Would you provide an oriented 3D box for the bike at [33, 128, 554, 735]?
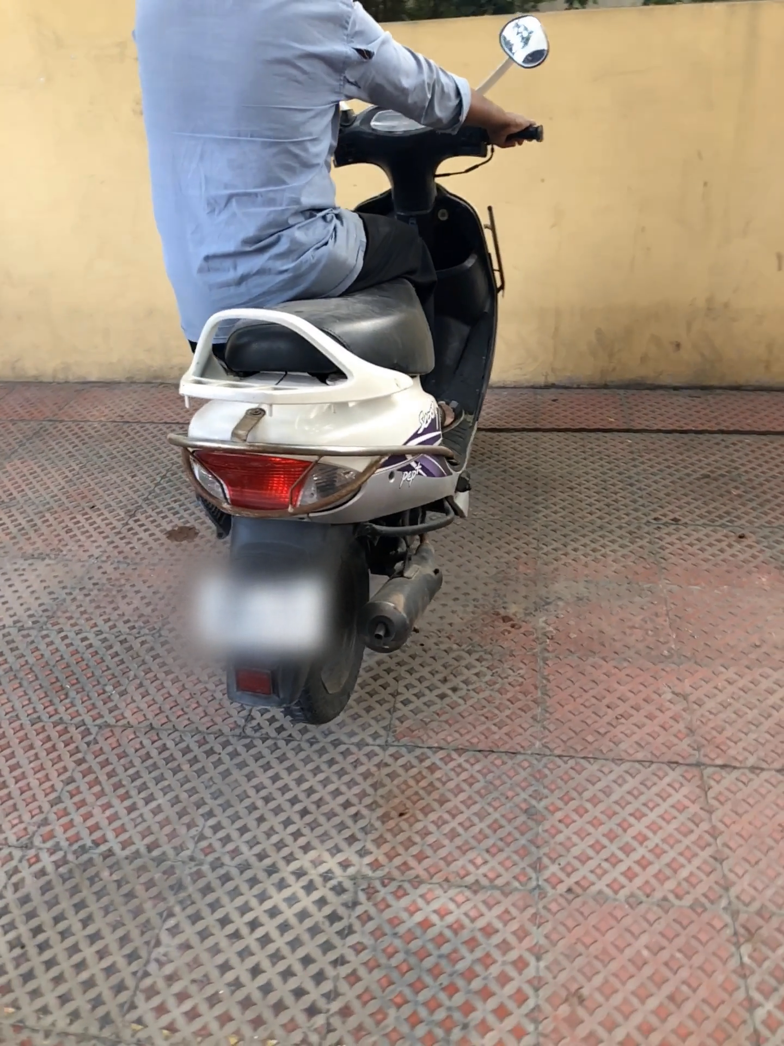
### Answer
[{"bbox_3d":[-0.001,-0.400,2.026,0.598,0.817,1.620,4,30,13],"label":"bike"}]
